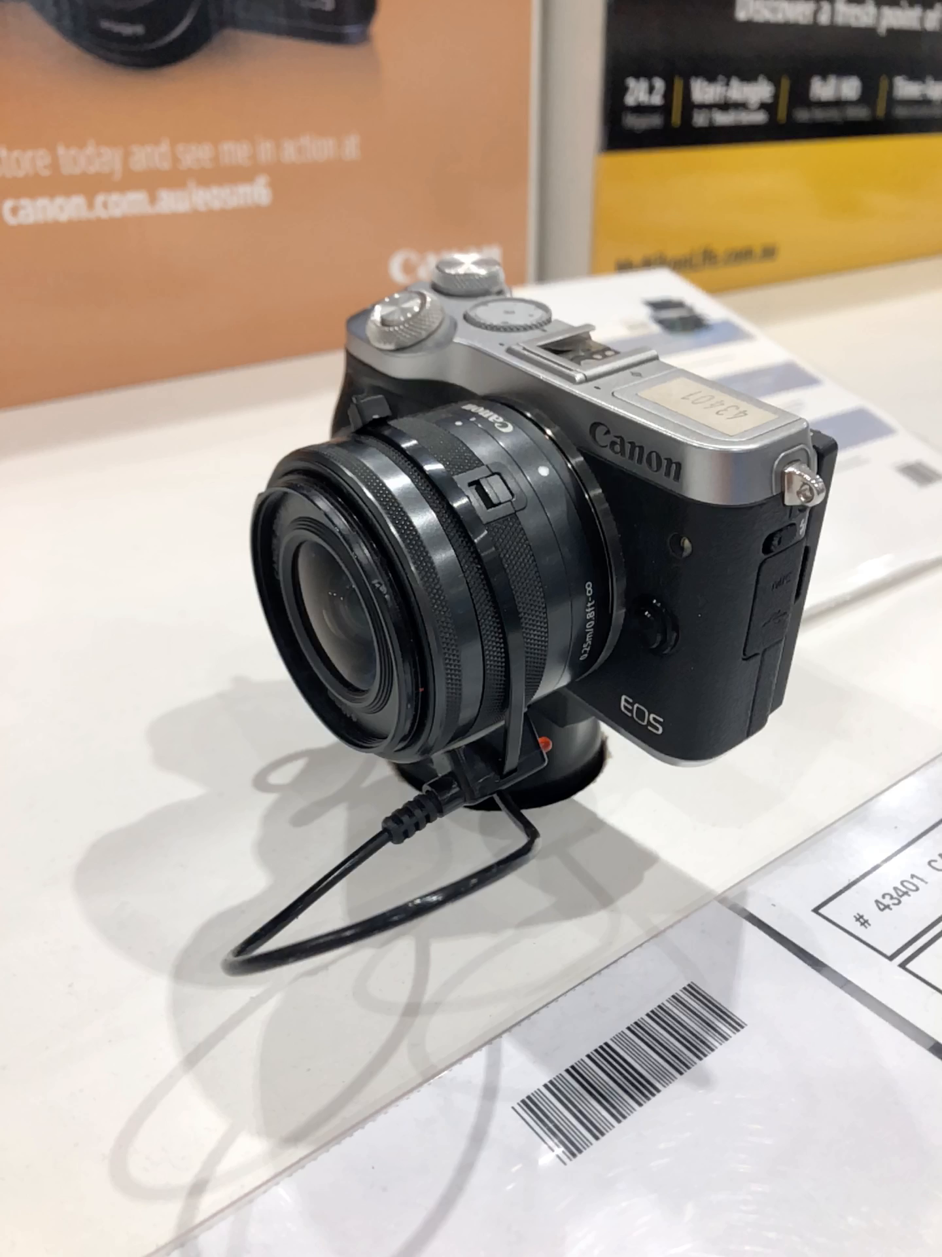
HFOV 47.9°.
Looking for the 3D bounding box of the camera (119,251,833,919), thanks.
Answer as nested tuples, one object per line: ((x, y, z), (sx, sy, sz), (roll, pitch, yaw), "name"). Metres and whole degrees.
((-0.003, -0.020, 0.210), (0.083, 0.075, 0.103), (-23, 39, -31), "camera")
